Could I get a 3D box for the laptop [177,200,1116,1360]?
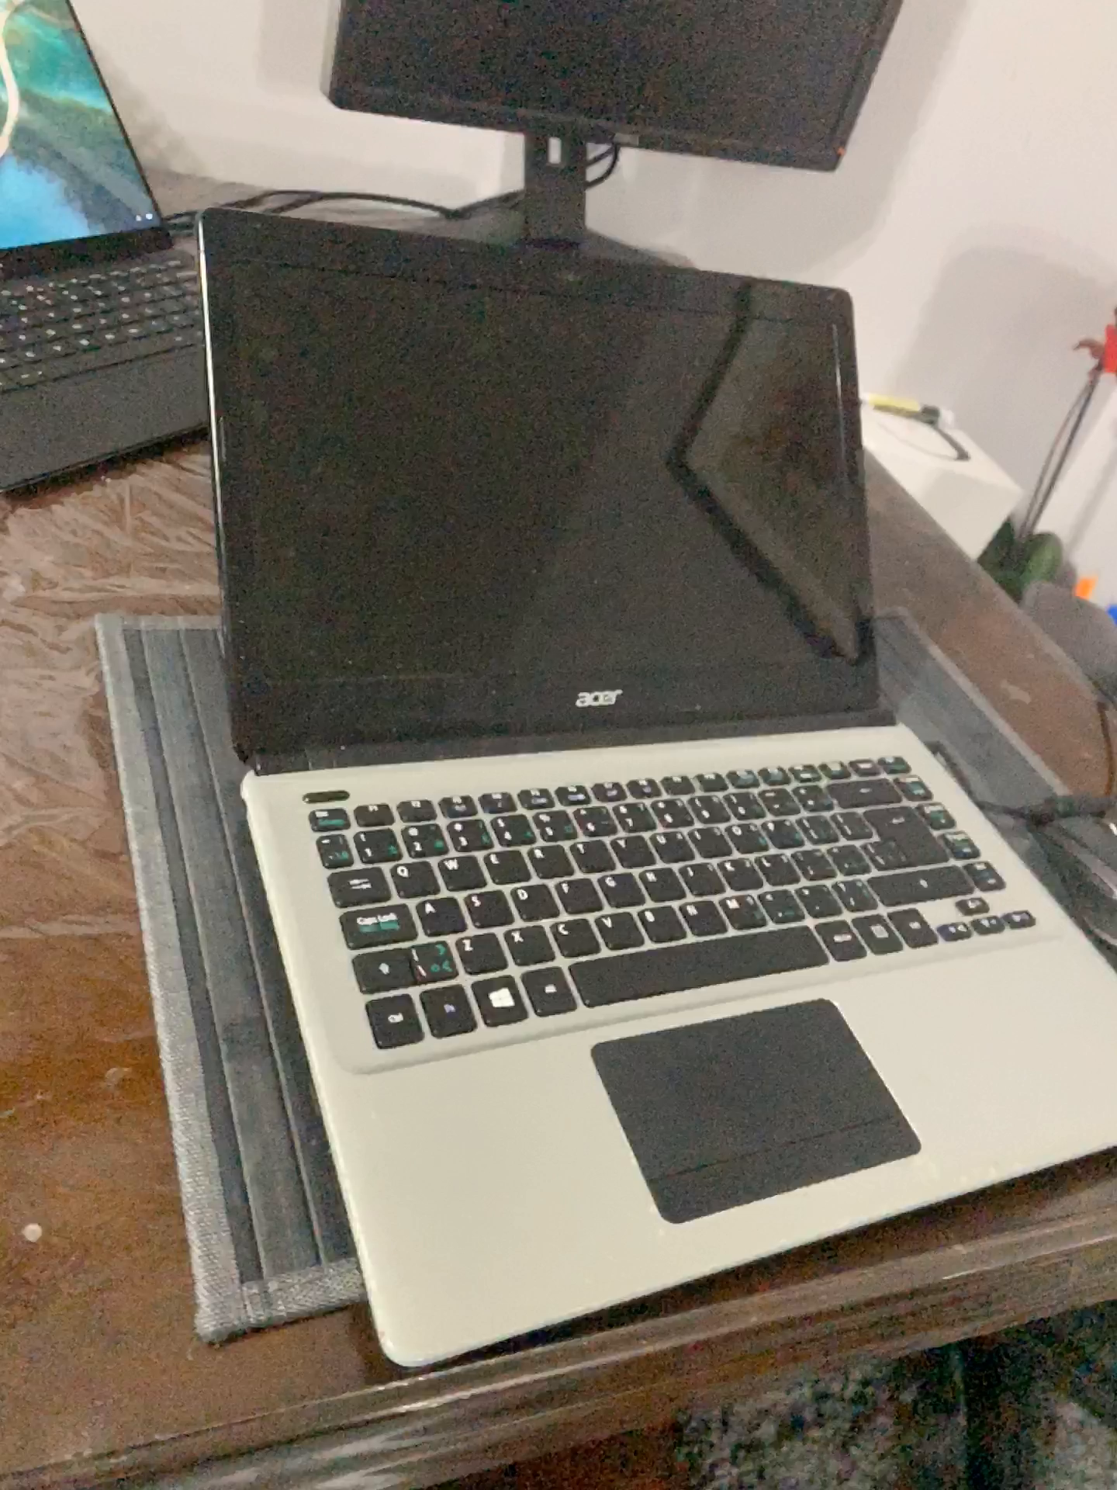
[{"bbox_3d":[0.056,-0.038,0.447,0.331,0.146,0.387,-4,44,-27],"label":"laptop"}]
